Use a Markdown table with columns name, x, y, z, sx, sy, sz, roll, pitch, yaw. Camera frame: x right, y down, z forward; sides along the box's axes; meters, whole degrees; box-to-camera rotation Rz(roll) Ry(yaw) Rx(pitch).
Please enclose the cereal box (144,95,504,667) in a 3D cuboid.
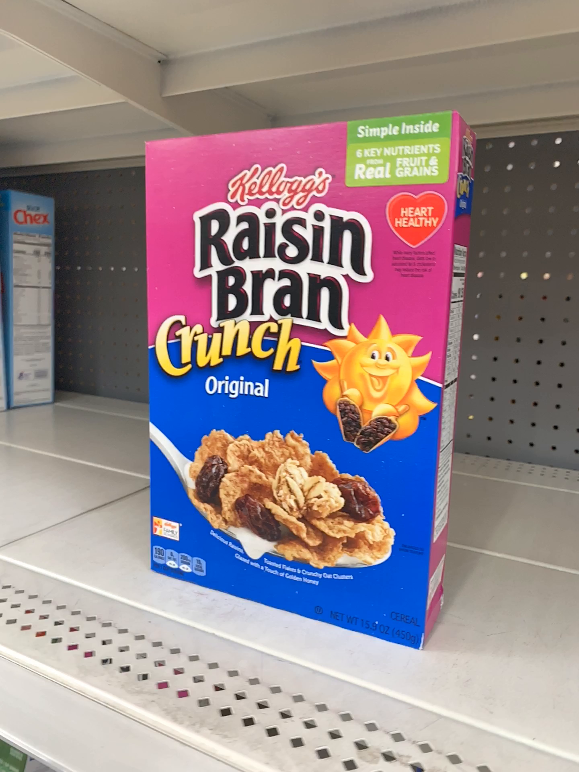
| name | x | y | z | sx | sy | sz | roll | pitch | yaw |
| --- | --- | --- | --- | --- | --- | --- | --- | --- | --- |
| cereal box | 0.009 | -0.006 | 0.358 | 0.200 | 0.279 | 0.050 | 6 | 10 | 28 |
